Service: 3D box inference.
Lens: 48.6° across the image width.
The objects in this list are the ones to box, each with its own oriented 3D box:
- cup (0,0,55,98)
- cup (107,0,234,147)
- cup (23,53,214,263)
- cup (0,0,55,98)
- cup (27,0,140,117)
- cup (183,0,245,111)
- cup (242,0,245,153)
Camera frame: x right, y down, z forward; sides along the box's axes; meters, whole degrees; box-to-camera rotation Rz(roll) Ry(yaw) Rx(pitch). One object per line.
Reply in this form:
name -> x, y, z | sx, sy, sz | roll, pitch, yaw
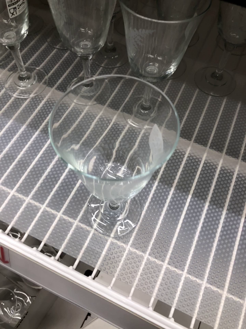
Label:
cup -> -0.132, -0.154, 0.317 | 0.069, 0.146, 0.066 | 1, 60, -2
cup -> 0.042, -0.113, 0.313 | 0.087, 0.155, 0.089 | 1, 60, -2
cup -> -0.002, 0.009, 0.239 | 0.089, 0.156, 0.086 | 1, 60, -2
cup -> -0.132, -0.154, 0.317 | 0.069, 0.146, 0.066 | 1, 60, -2
cup -> -0.036, -0.144, 0.315 | 0.079, 0.146, 0.086 | 1, 60, -2
cup -> 0.143, -0.154, 0.320 | 0.089, 0.136, 0.086 | 1, 60, -2
cup -> 0.196, -0.091, 0.267 | 0.086, 0.126, 0.069 | -36, 67, -20
